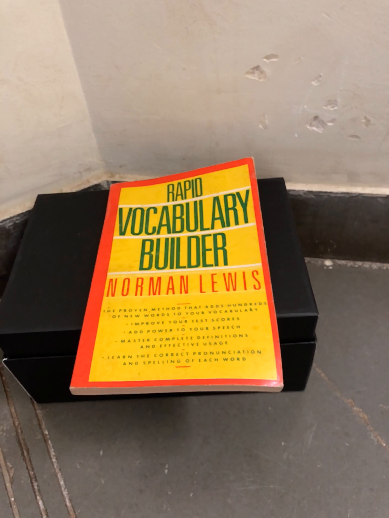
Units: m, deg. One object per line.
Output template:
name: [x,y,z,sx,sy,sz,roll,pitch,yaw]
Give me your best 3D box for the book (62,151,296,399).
book: [-0.008,-0.005,0.348,0.140,0.030,0.231,-2,47,3]
